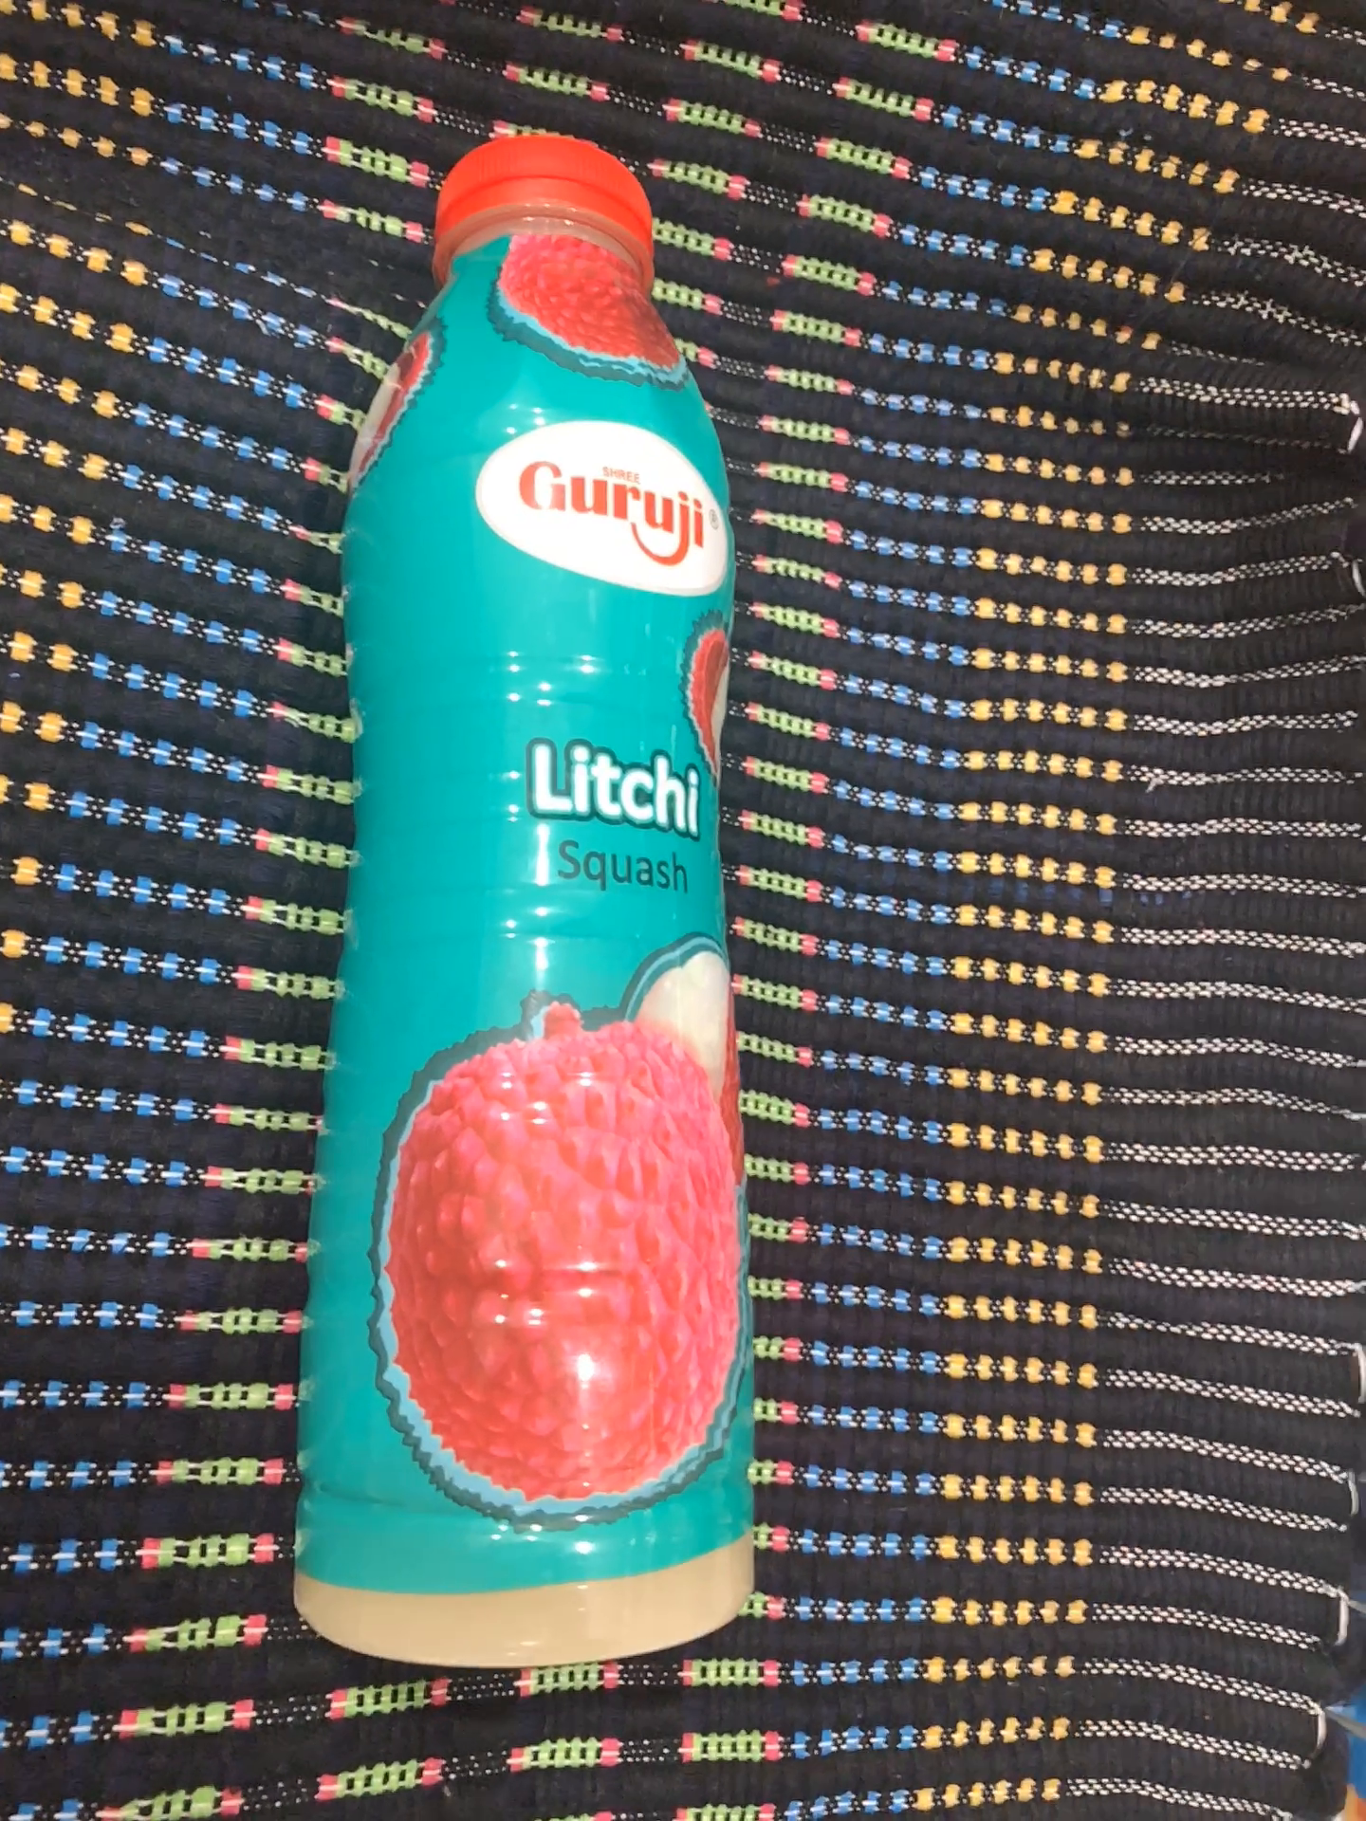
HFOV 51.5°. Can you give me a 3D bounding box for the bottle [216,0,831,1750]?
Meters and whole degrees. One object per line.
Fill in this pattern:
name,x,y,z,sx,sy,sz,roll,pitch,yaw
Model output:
bottle,-0.036,-0.020,0.259,0.070,0.080,0.280,5,73,-31
